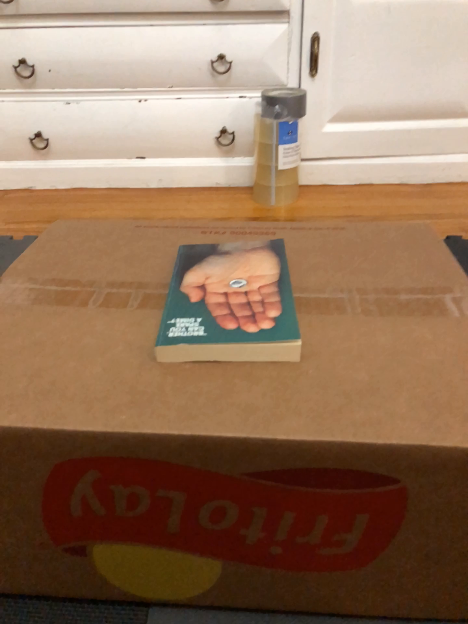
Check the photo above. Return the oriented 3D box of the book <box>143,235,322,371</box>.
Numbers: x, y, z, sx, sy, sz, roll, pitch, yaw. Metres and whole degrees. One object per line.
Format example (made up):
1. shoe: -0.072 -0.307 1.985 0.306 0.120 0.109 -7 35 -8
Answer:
1. book: 0.000 -0.017 0.425 0.120 0.020 0.181 -1 32 1
